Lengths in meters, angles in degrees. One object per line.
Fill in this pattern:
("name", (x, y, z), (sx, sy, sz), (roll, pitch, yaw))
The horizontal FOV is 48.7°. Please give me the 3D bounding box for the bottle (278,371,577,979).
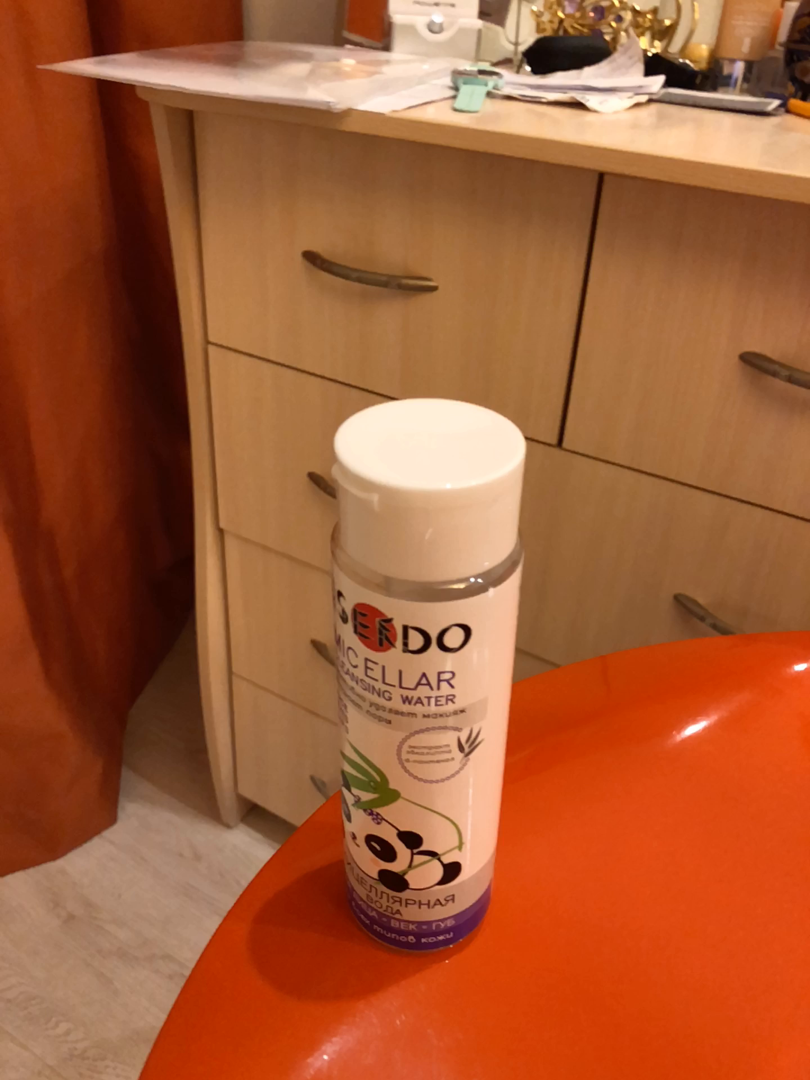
("bottle", (0.005, 0.044, 0.253), (0.053, 0.166, 0.052), (1, 34, -1))
